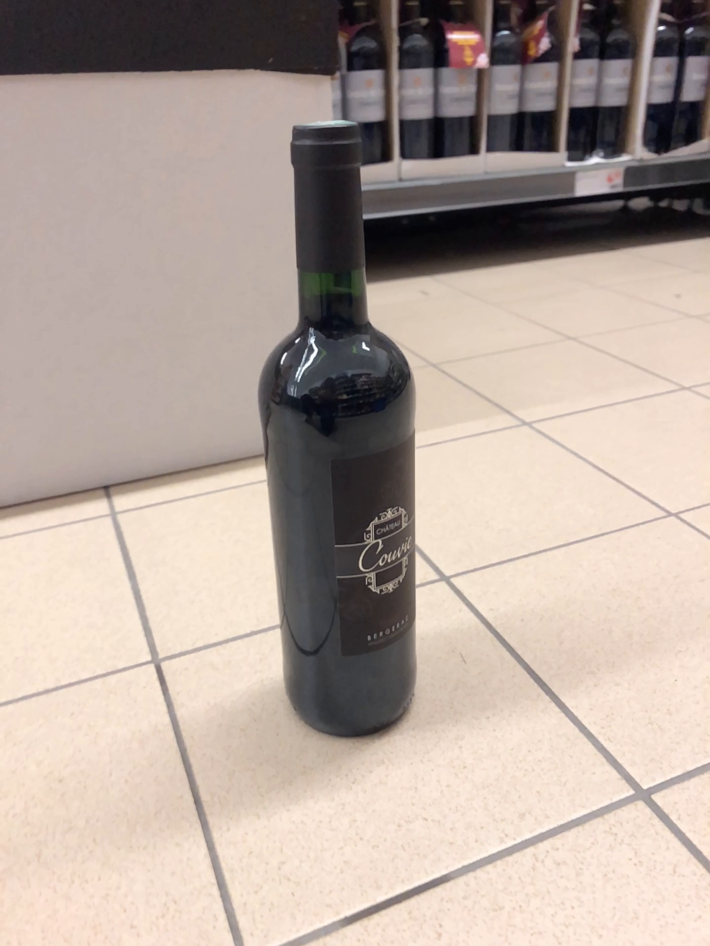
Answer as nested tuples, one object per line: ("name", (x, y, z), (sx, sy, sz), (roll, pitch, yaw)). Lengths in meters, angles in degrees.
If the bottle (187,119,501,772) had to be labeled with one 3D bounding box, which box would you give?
("bottle", (-0.001, -0.011, 0.381), (0.090, 0.288, 0.090), (-2, 26, 1))
